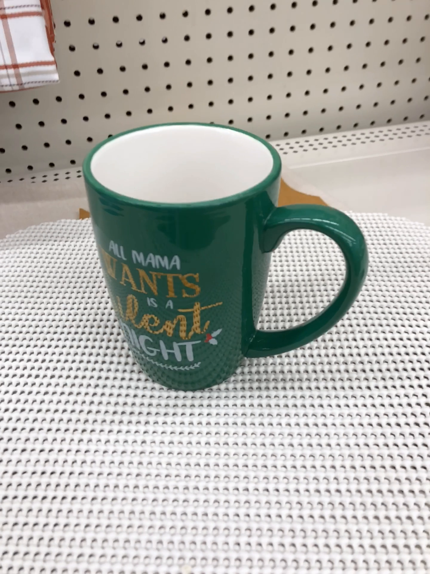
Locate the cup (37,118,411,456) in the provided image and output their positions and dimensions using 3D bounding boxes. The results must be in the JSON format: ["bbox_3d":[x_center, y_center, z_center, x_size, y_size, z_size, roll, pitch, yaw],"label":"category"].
[{"bbox_3d":[0.011,-0.009,0.247,0.140,0.110,0.100,14,40,20],"label":"cup"}]
